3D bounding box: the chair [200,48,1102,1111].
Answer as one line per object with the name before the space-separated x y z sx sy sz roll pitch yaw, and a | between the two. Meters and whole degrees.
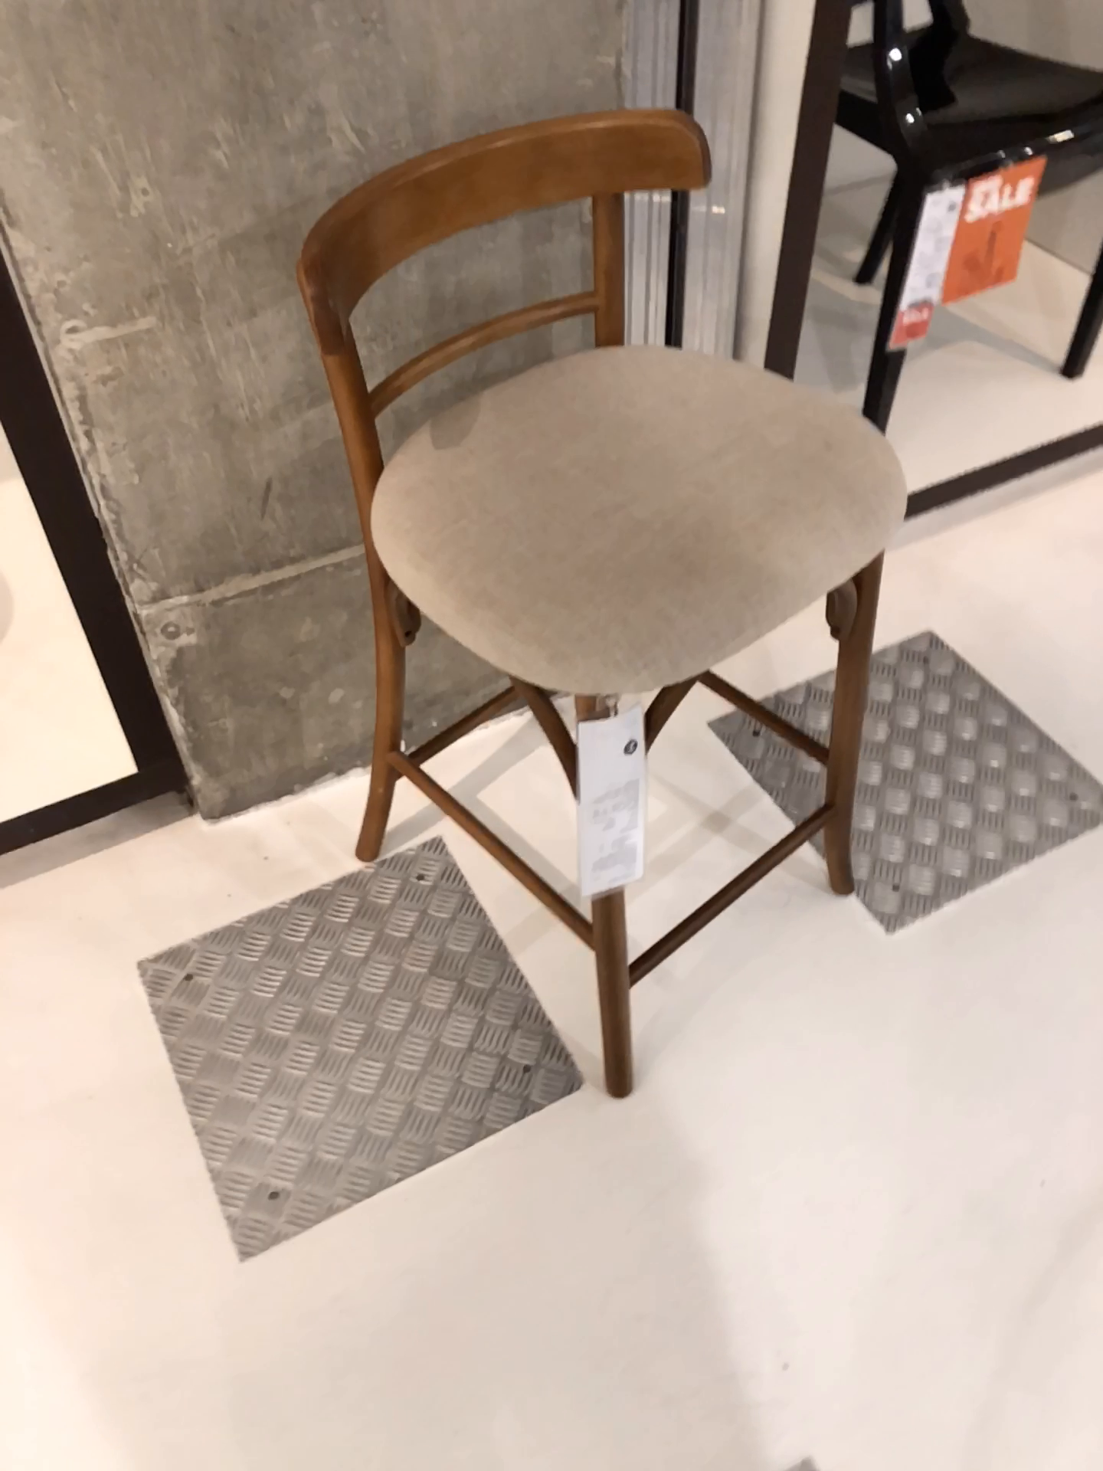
chair | 0.074 -0.129 1.206 0.482 0.795 0.481 -35 56 -28
